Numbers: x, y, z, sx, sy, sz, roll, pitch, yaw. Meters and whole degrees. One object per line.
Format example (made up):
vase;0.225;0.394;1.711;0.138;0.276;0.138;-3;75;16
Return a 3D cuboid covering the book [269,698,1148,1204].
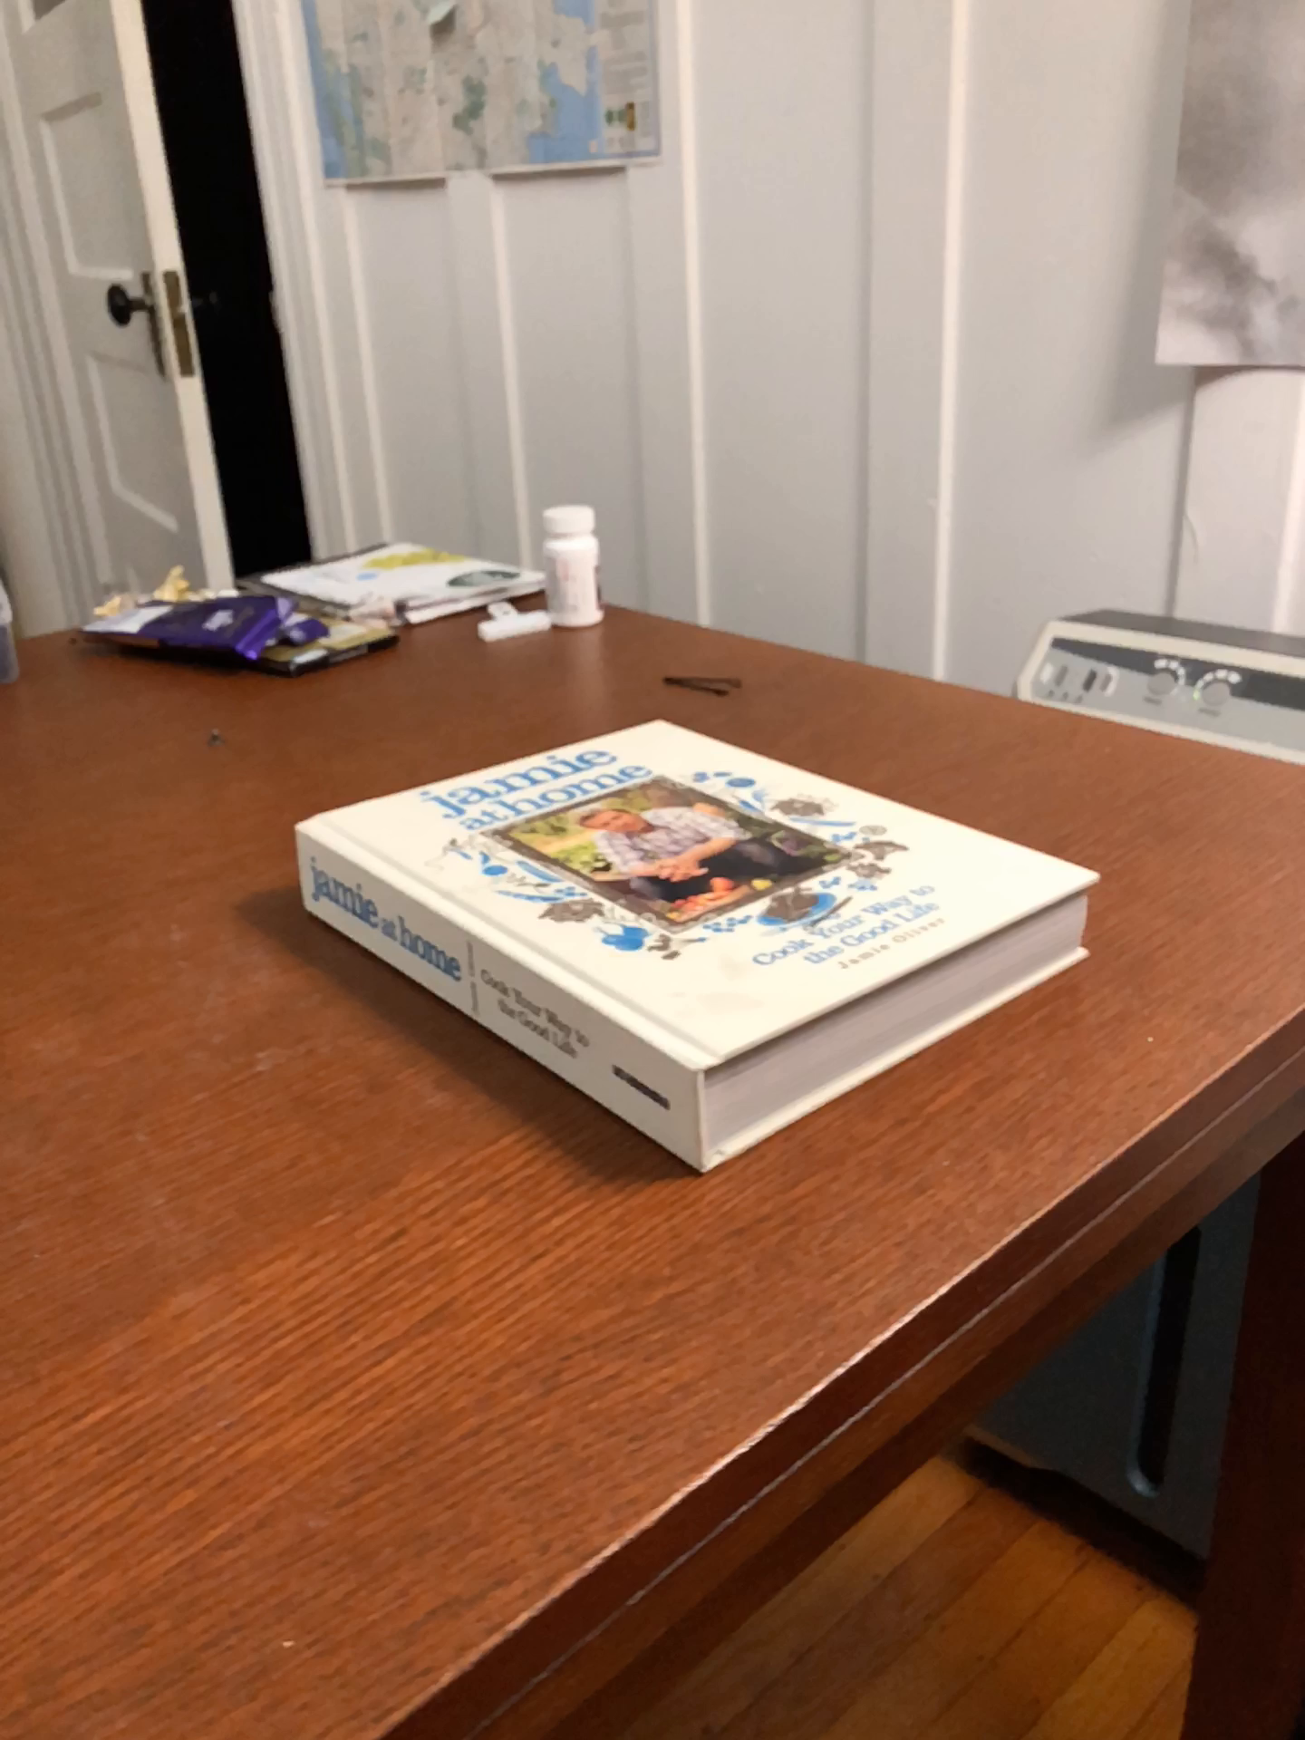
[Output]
book;0.012;0.006;0.551;0.210;0.040;0.261;-21;30;-34
